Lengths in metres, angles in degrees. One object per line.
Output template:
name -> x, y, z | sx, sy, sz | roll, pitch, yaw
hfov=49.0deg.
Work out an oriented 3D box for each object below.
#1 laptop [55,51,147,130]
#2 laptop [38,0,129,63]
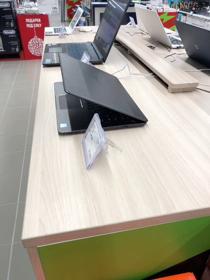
laptop -> -0.038, -0.176, 0.713 | 0.221, 0.099, 0.346 | -7, 34, -8
laptop -> -0.113, -0.570, 1.151 | 0.377, 0.230, 0.350 | -7, 36, -9
